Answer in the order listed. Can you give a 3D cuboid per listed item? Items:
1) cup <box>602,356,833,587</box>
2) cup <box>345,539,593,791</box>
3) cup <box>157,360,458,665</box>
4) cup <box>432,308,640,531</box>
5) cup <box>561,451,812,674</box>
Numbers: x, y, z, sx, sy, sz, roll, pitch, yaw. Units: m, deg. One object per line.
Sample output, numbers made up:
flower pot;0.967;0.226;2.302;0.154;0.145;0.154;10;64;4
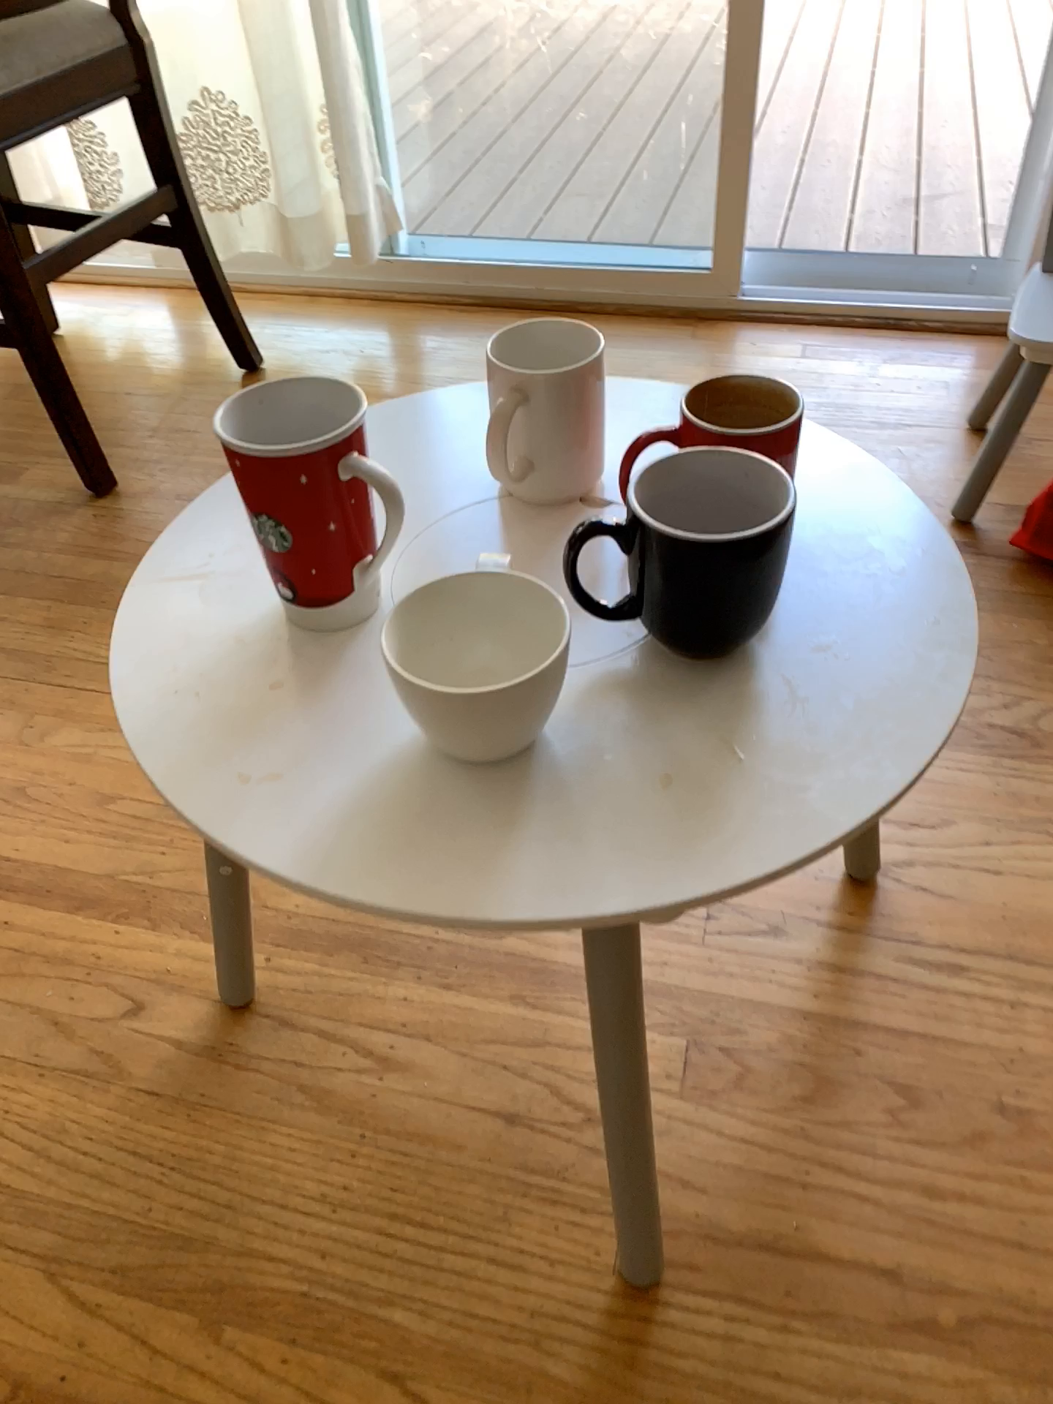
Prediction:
cup;0.122;-0.154;0.715;0.120;0.100;0.080;-17;45;-14
cup;-0.025;-0.024;0.587;0.110;0.060;0.131;4;44;7
cup;-0.129;-0.120;0.671;0.130;0.129;0.100;18;47;21
cup;0.011;-0.198;0.743;0.100;0.090;0.120;14;46;18
cup;0.091;-0.083;0.625;0.130;0.080;0.100;3;44;7
